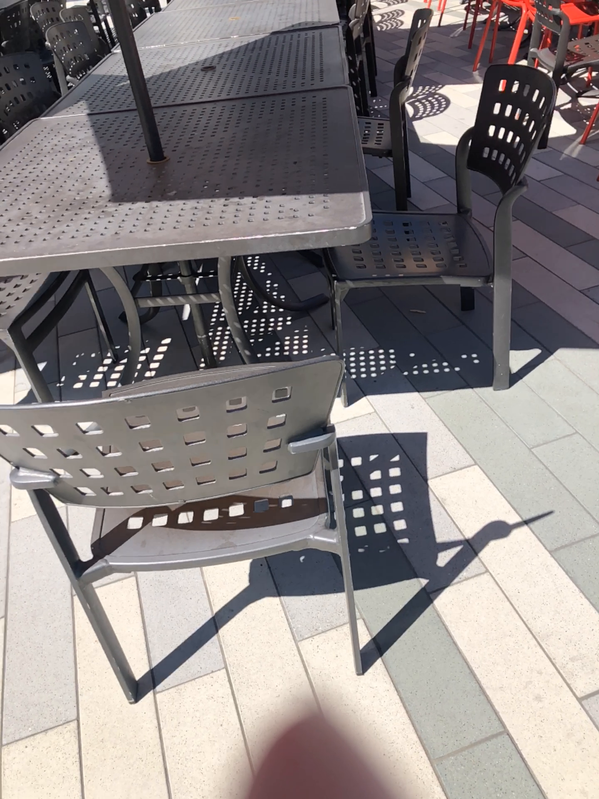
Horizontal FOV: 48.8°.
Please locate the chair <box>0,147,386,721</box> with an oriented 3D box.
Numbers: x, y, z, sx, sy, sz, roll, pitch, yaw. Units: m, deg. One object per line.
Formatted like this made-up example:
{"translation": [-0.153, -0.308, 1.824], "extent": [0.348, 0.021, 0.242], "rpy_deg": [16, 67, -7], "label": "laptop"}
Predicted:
{"translation": [-0.170, 0.082, 1.128], "extent": [0.520, 0.756, 0.533], "rpy_deg": [-9, 42, -1], "label": "chair"}
